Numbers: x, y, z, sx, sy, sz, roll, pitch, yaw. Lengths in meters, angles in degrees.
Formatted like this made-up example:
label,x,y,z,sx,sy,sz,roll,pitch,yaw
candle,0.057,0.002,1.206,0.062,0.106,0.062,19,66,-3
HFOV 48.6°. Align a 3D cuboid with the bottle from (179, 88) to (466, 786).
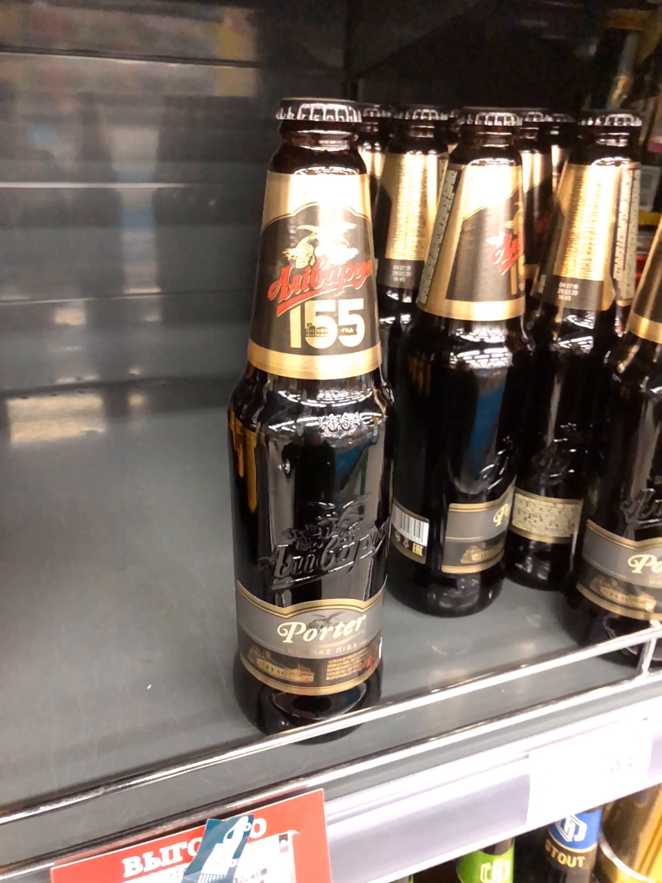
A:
label,x,y,z,sx,sy,sz,roll,pitch,yaw
bottle,-0.013,0.005,0.297,0.080,0.263,0.080,2,24,-1
